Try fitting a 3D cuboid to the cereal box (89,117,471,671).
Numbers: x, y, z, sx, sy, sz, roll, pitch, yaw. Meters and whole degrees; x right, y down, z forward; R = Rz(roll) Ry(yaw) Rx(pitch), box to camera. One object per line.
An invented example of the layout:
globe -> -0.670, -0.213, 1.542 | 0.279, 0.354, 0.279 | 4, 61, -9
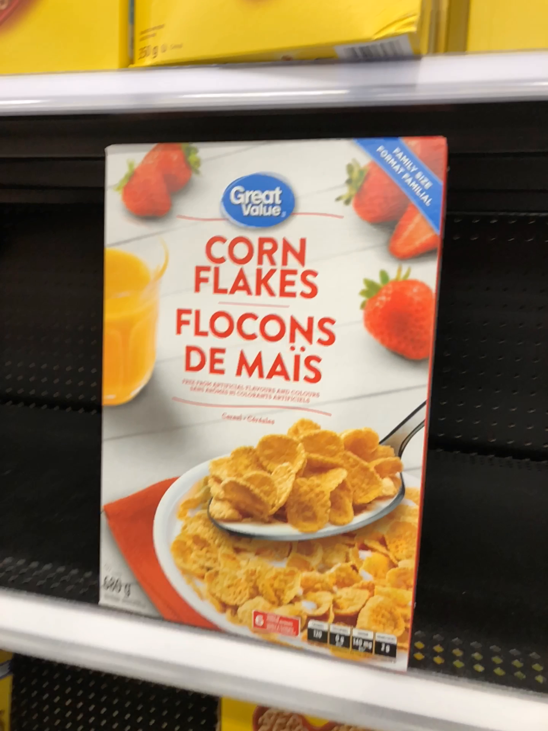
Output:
cereal box -> 0.000, 0.011, 0.430 | 0.240, 0.329, 0.090 | 5, 8, 16
